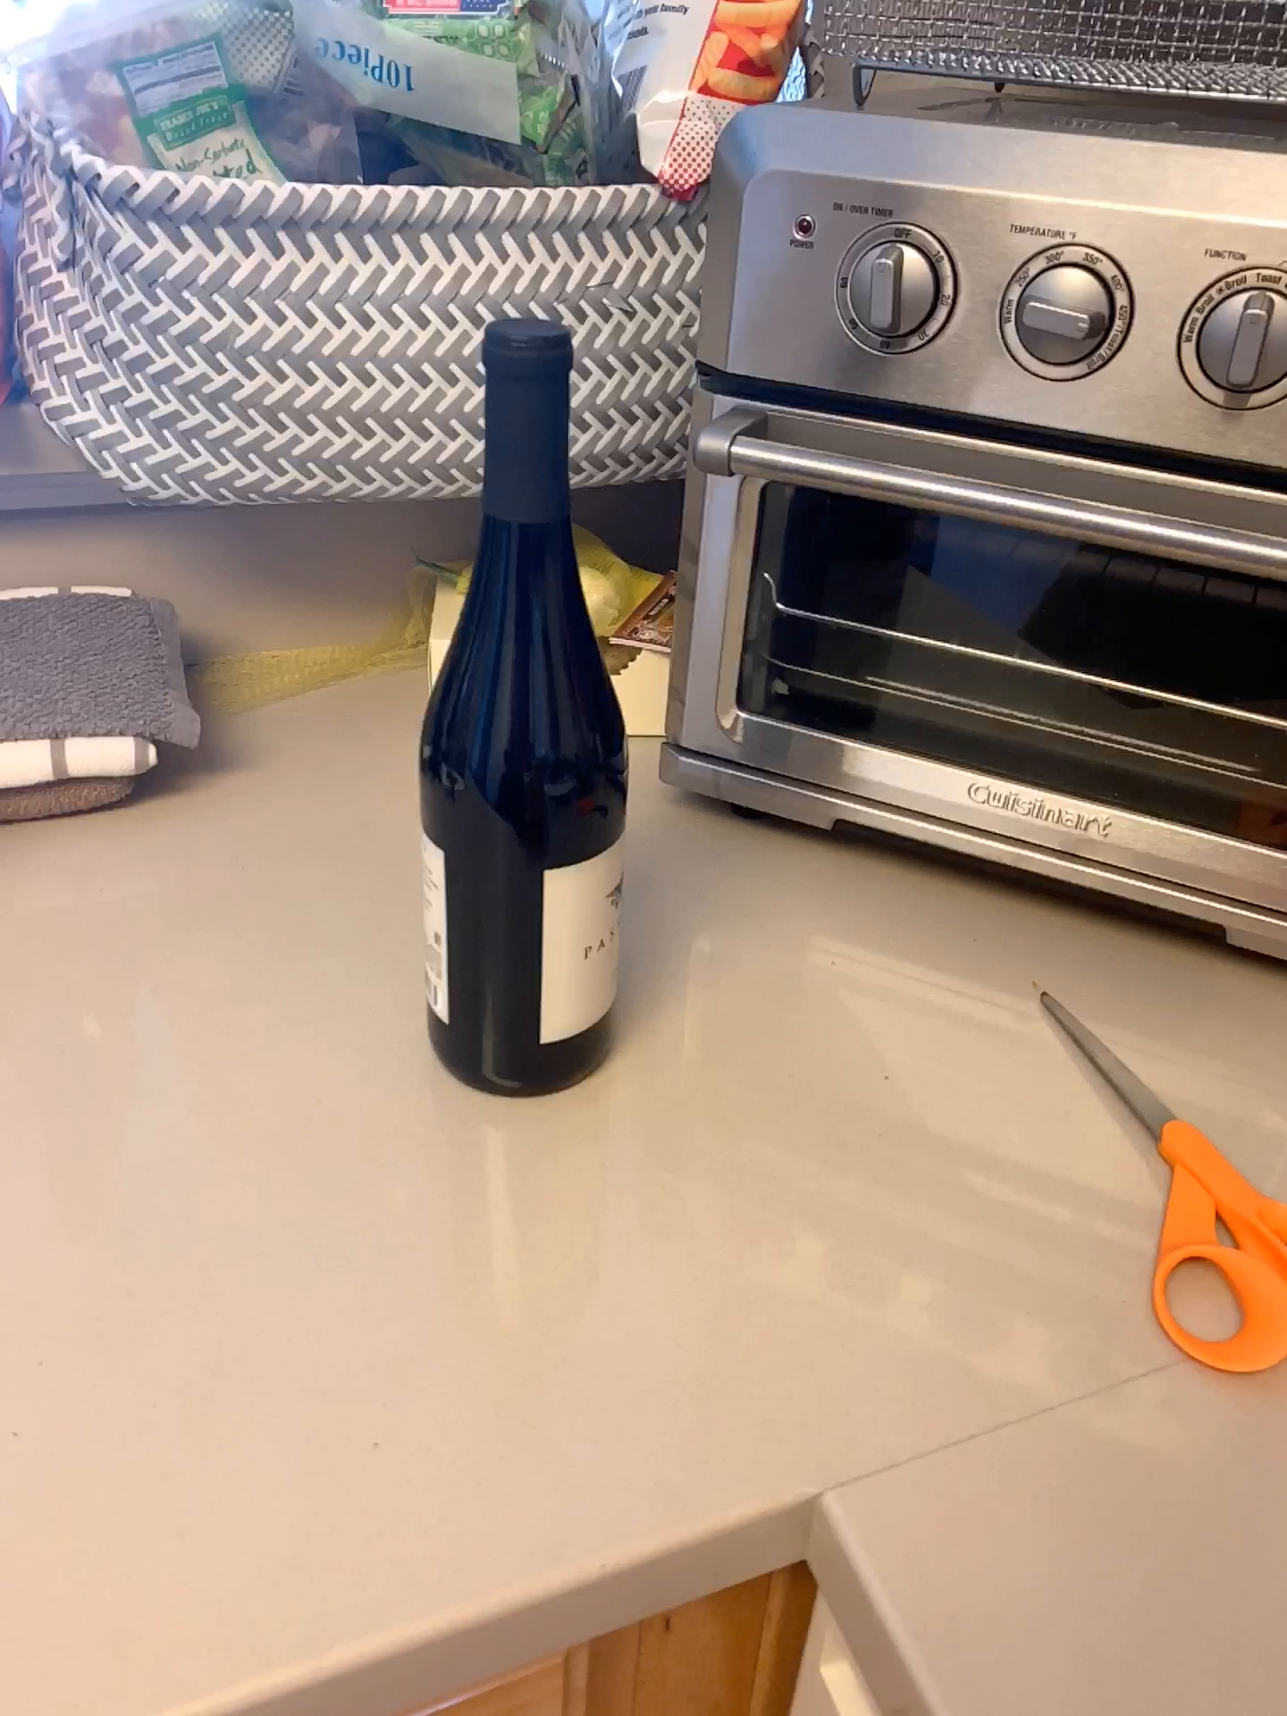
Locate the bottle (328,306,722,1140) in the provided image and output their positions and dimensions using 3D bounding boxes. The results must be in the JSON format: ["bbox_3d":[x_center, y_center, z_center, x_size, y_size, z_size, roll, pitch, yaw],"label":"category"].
[{"bbox_3d":[-0.041,-0.042,0.484,0.090,0.278,0.090,3,33,-2],"label":"bottle"}]
